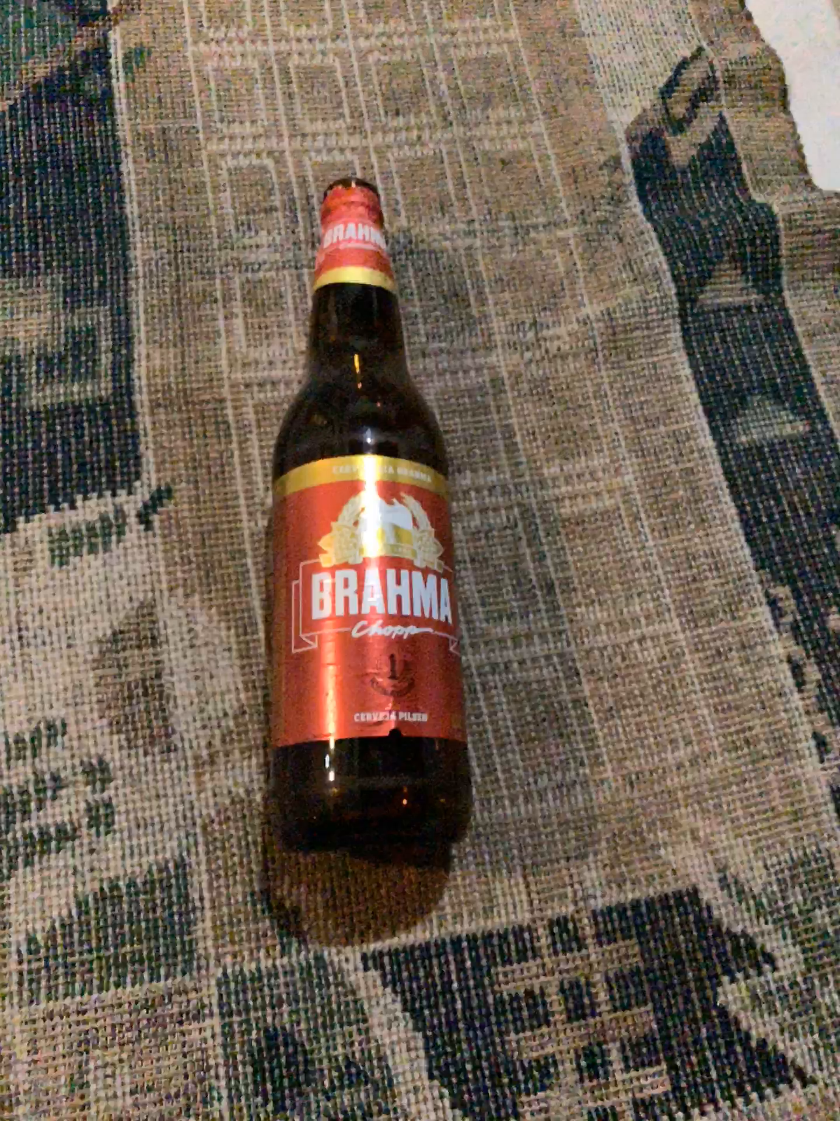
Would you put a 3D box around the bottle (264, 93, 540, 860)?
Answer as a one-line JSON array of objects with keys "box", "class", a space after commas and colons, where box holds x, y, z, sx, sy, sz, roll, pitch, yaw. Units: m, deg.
[{"box": [-0.016, -0.039, 0.326, 0.080, 0.060, 0.280, 1, 70, -11], "class": "bottle"}]
